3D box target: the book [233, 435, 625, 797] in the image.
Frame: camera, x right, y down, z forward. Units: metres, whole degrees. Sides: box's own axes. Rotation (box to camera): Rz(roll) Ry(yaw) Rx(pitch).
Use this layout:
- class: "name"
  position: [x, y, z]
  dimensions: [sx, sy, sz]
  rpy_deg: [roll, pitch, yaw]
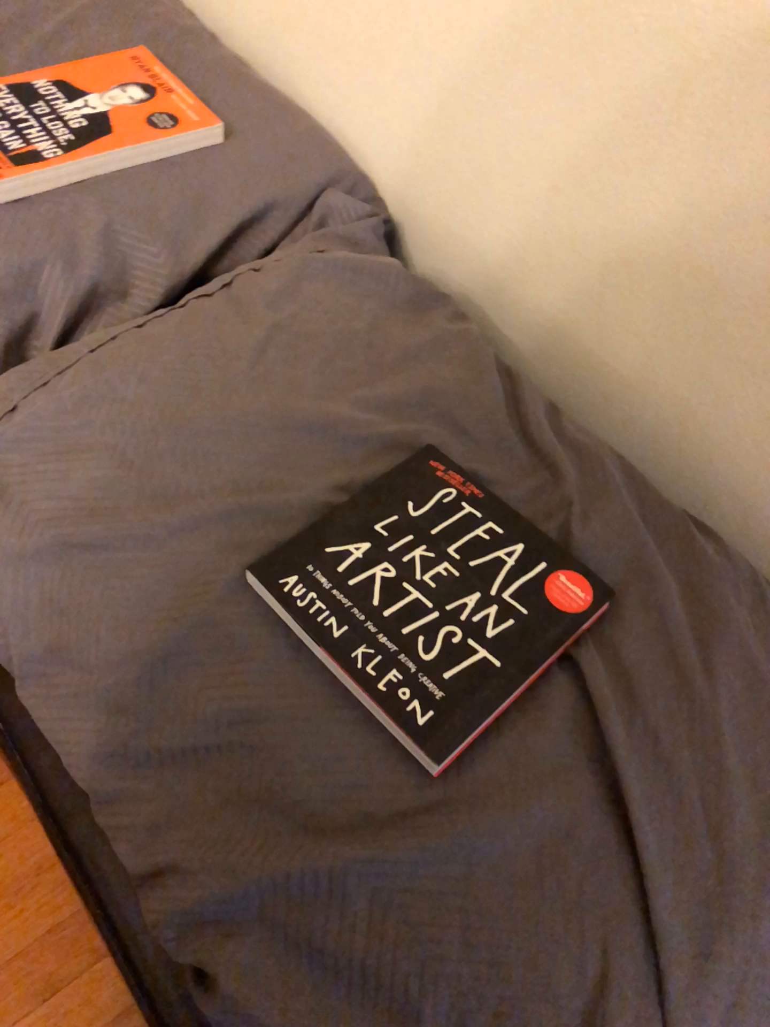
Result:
- class: "book"
  position: [0.026, 0.047, 0.493]
  dimensions: [0.160, 0.020, 0.160]
  rpy_deg: [-36, 66, -27]
